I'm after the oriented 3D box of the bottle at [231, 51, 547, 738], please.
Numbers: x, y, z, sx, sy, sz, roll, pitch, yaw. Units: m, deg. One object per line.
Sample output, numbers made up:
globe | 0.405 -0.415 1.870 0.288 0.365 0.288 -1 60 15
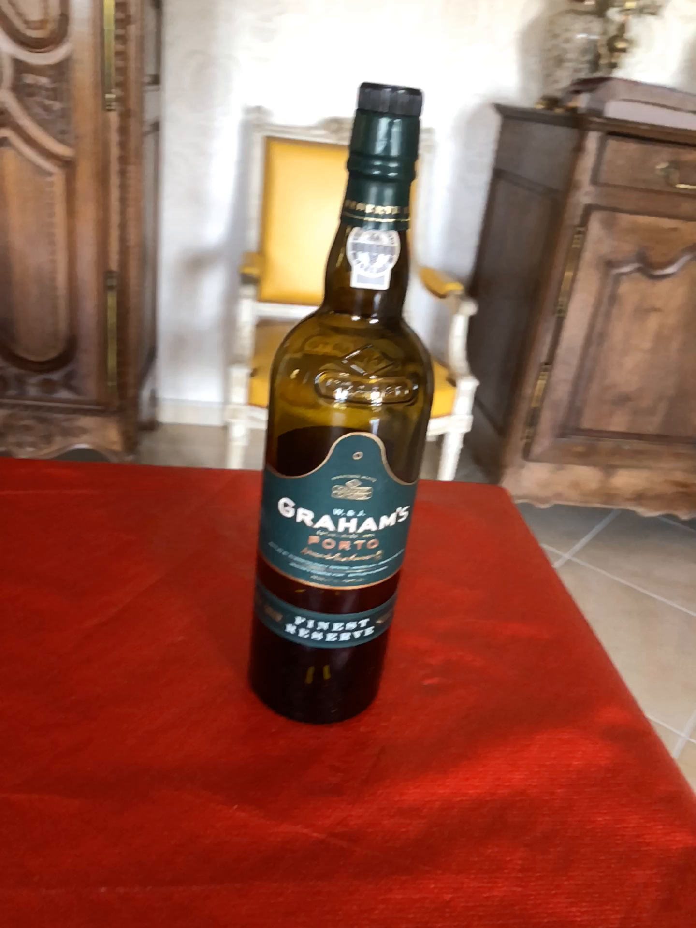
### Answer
bottle | 0.001 -0.017 0.359 0.090 0.298 0.090 6 25 -3
